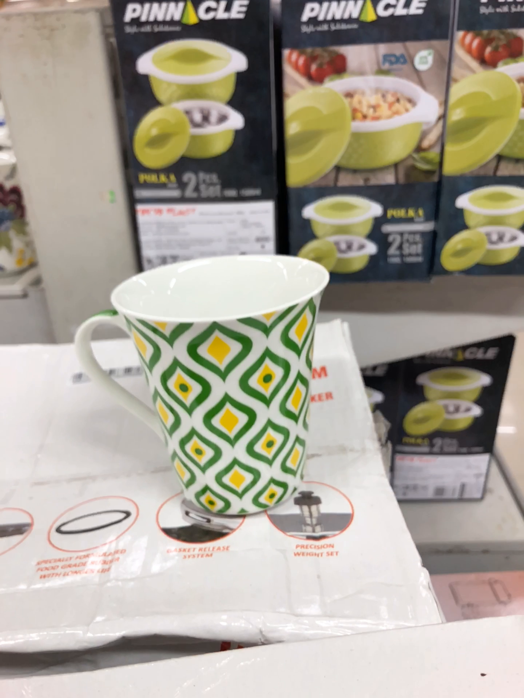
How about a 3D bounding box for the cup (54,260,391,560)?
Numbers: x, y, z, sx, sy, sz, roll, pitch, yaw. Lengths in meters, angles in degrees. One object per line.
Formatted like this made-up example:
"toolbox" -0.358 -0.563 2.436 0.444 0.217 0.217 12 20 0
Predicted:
"cup" -0.011 0.020 0.252 0.110 0.090 0.090 -3 22 1
